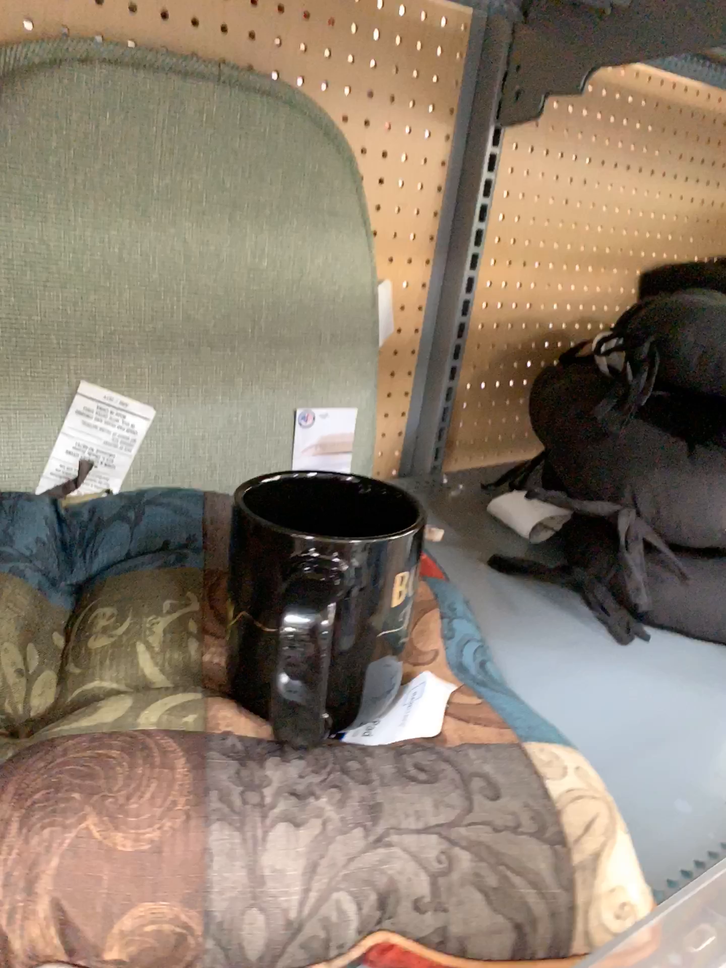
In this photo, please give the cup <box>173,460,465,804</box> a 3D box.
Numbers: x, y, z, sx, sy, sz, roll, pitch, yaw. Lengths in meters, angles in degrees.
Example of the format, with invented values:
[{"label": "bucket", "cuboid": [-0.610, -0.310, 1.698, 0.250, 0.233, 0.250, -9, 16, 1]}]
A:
[{"label": "cup", "cuboid": [-0.017, 0.057, 0.348, 0.100, 0.100, 0.130, 8, 13, -1]}]
